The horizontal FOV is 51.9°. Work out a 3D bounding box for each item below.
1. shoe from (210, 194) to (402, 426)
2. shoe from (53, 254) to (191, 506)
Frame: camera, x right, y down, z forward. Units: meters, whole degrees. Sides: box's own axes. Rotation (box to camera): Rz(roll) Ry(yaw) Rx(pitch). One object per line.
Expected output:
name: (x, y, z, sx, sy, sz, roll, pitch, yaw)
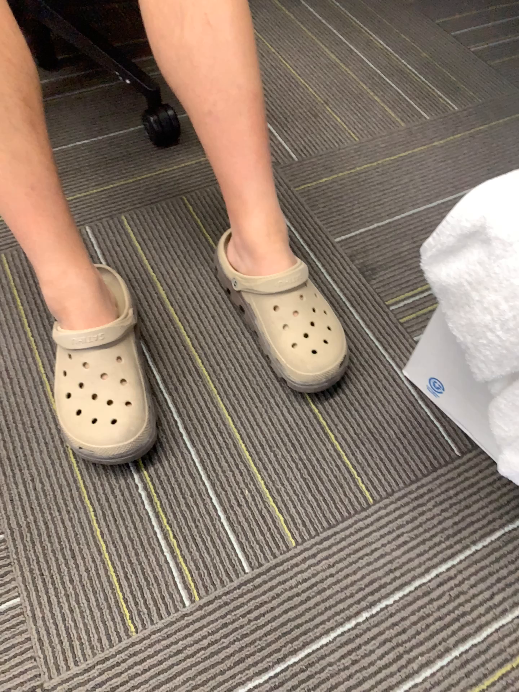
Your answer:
shoe: (0.052, -0.066, 0.779, 0.140, 0.080, 0.331, -18, 60, -13)
shoe: (-0.191, 0.032, 0.720, 0.134, 0.080, 0.322, -11, 59, -9)
